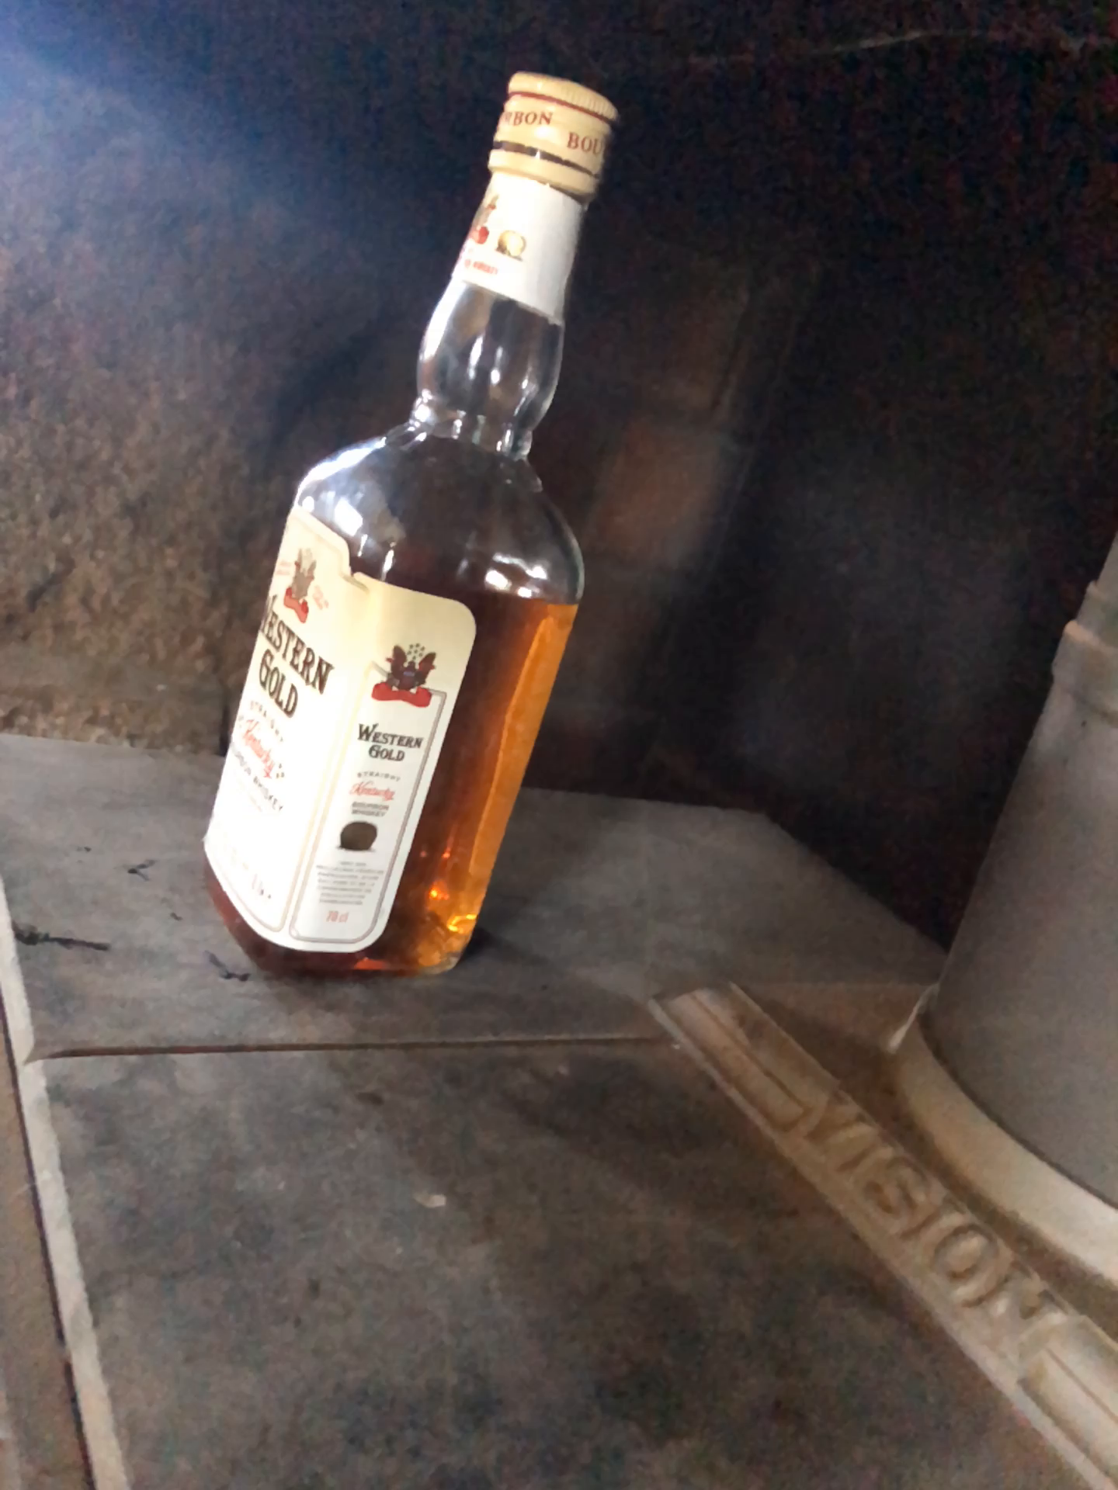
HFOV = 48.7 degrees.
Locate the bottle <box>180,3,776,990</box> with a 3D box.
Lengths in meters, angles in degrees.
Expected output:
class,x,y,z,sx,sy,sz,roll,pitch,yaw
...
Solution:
class,x,y,z,sx,sy,sz,roll,pitch,yaw
bottle,-0.034,-0.062,0.362,0.080,0.249,0.090,7,17,-34
